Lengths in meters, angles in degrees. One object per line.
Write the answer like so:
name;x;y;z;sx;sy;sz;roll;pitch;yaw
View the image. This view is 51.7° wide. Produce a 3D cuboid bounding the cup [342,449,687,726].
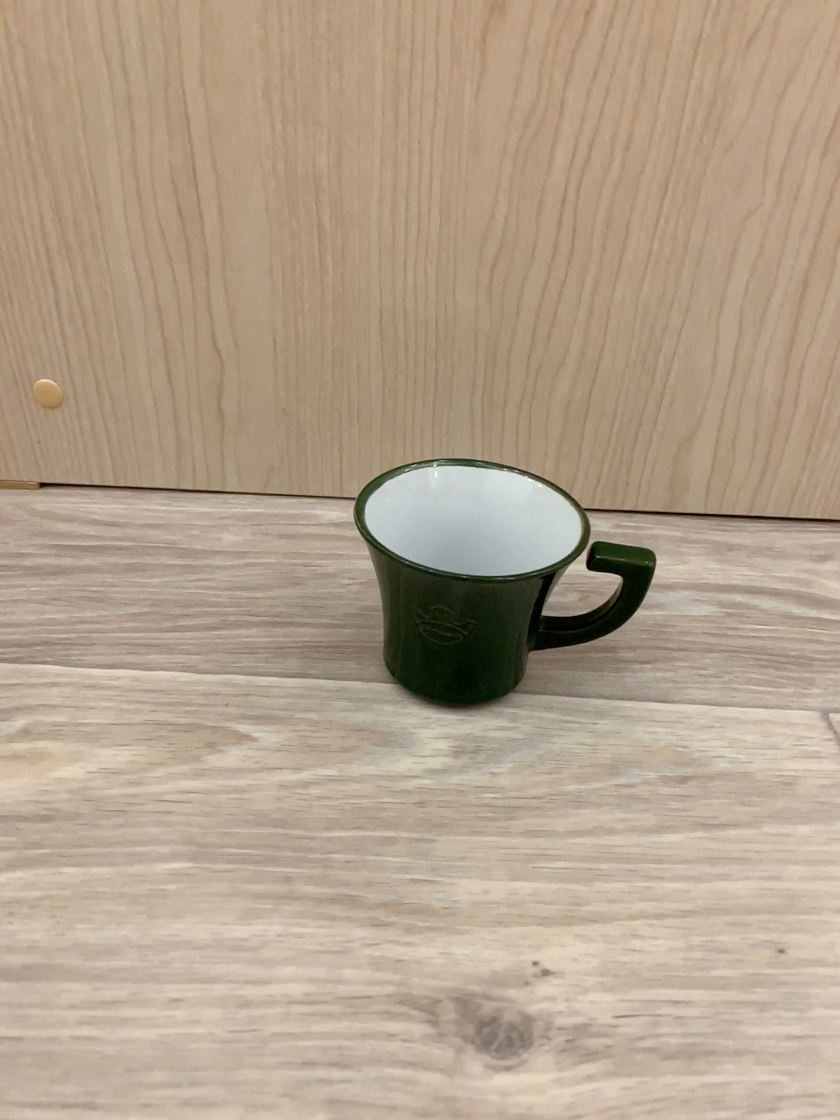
cup;0.030;0.007;0.315;0.106;0.061;0.075;4;33;2
